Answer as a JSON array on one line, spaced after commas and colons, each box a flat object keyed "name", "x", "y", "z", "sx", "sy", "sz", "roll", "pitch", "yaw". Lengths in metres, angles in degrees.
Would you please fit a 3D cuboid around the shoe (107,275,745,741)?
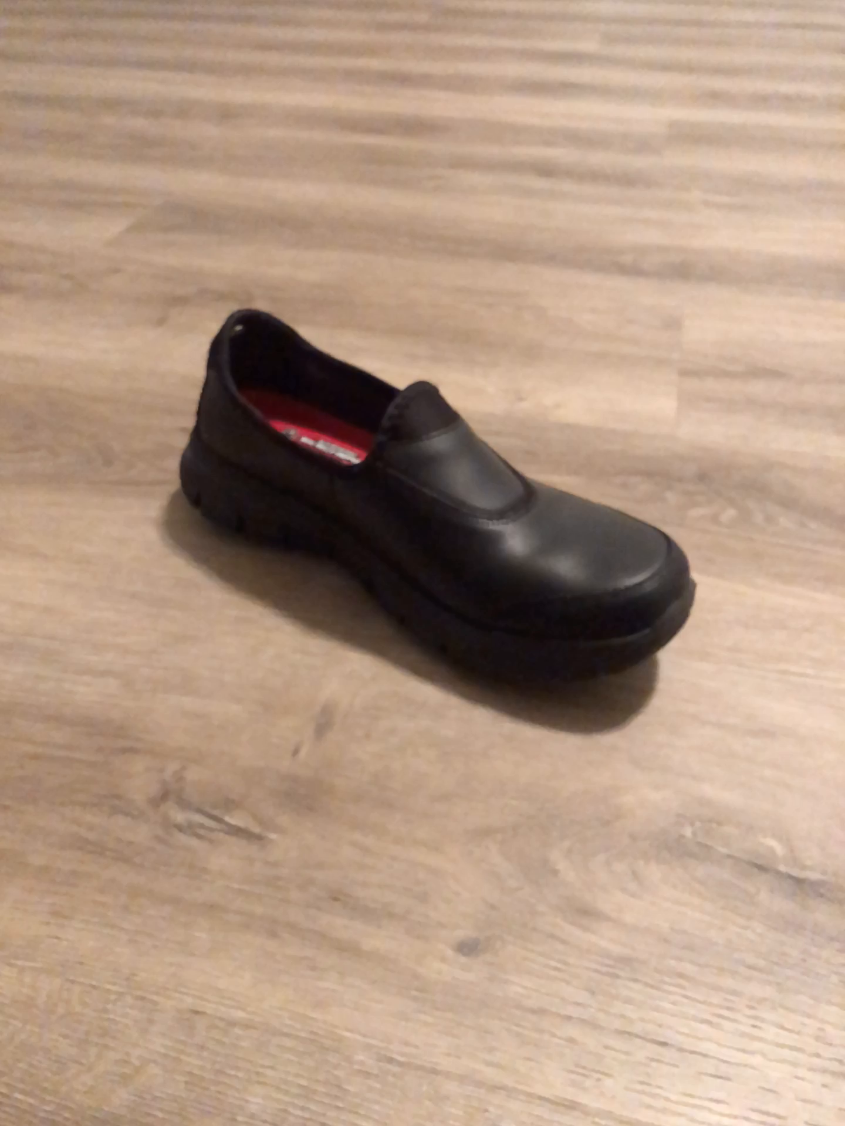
[{"name": "shoe", "x": -0.007, "y": -0.037, "z": 0.395, "sx": 0.240, "sy": 0.090, "sz": 0.090, "roll": 23, "pitch": 44, "yaw": 27}]
